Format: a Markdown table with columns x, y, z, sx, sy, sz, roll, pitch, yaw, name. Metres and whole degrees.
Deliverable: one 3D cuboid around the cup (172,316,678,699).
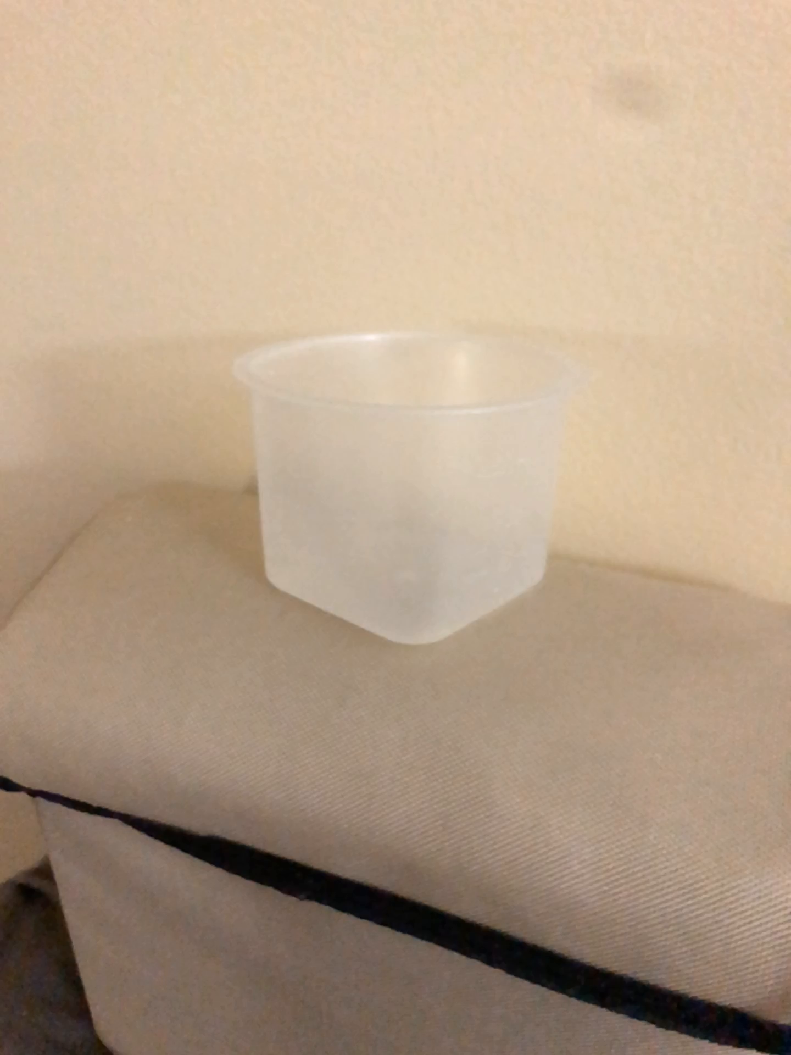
| x | y | z | sx | sy | sz | roll | pitch | yaw | name |
| --- | --- | --- | --- | --- | --- | --- | --- | --- | --- |
| 0.008 | -0.013 | 0.205 | 0.080 | 0.046 | 0.076 | -1 | 26 | 0 | cup |
